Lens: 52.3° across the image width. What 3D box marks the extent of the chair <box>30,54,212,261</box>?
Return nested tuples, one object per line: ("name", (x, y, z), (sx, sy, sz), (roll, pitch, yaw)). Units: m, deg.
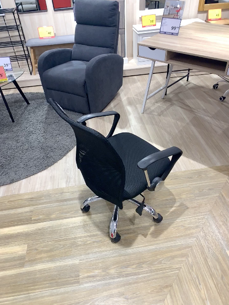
("chair", (0.028, 0.005, 1.395), (0.601, 0.865, 0.643), (-29, 46, -27))
